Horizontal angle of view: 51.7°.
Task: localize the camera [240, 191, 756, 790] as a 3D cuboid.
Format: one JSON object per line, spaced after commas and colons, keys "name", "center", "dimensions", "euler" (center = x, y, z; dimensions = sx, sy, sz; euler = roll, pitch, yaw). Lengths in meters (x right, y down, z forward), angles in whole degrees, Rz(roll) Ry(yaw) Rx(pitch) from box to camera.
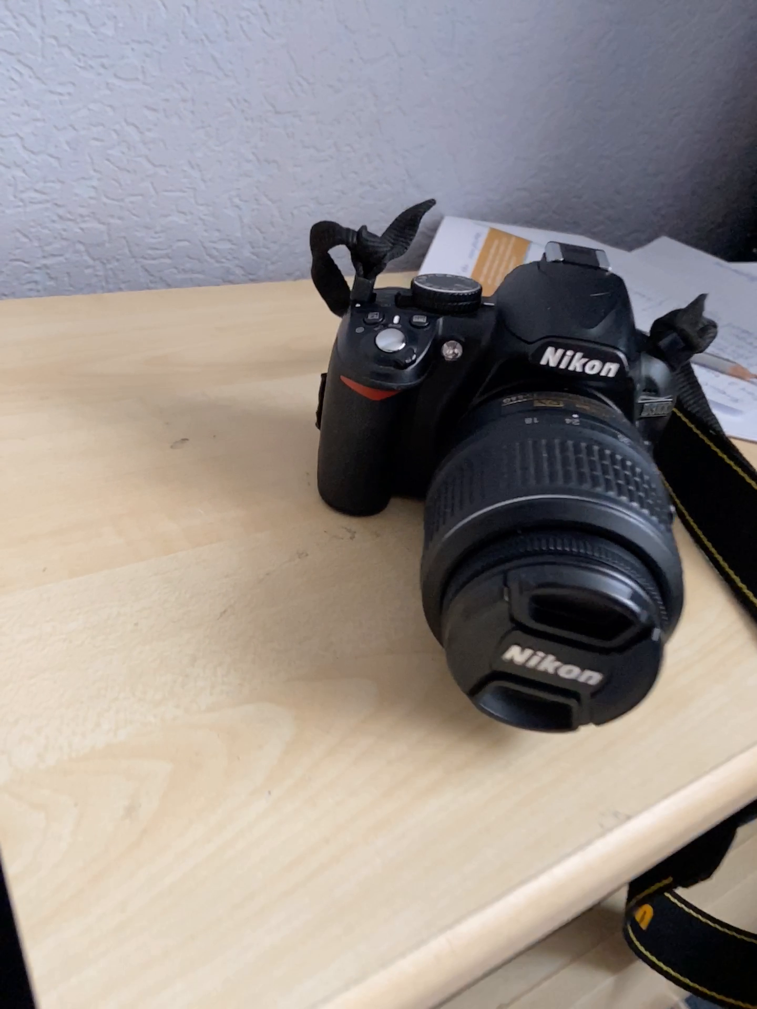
{"name": "camera", "center": [0.037, -0.017, 0.237], "dimensions": [0.118, 0.091, 0.153], "euler": [10, 37, 0]}
